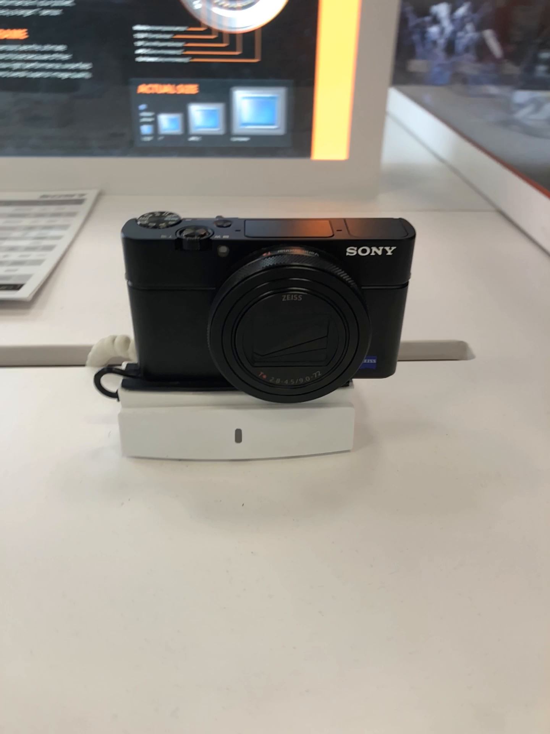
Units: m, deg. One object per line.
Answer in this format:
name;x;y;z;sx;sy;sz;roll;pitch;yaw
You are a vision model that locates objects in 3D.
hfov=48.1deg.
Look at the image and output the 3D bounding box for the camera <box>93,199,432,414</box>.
camera;-0.005;-0.023;0.235;0.110;0.070;0.040;0;32;-3
